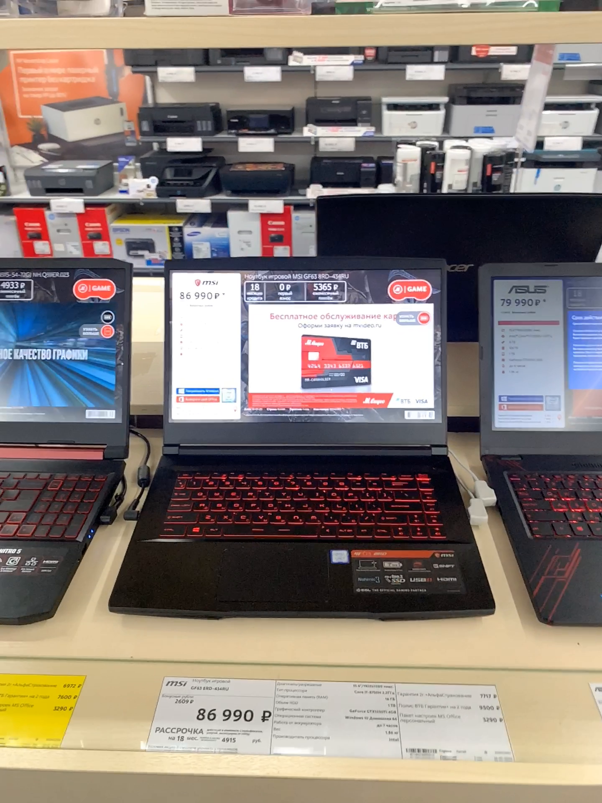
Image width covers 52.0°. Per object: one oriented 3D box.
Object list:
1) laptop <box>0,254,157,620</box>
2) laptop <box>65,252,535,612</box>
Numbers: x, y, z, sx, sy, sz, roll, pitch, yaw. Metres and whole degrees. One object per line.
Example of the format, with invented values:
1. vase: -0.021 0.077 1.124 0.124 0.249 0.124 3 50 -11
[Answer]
1. laptop: -0.384 0.006 0.659 0.334 0.211 0.373 1 30 3
2. laptop: 0.003 0.001 0.667 0.350 0.204 0.372 0 31 1
